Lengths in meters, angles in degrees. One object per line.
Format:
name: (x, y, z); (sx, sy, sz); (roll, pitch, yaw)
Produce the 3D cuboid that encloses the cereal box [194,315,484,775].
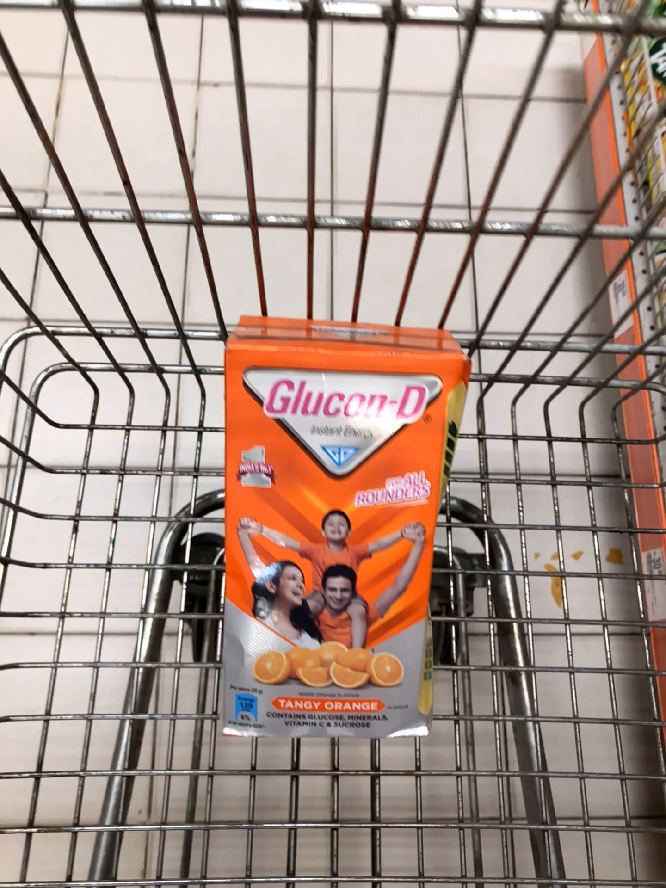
cereal box: (-0.003, 0.045, 0.382); (0.120, 0.100, 0.210); (2, 103, -2)
